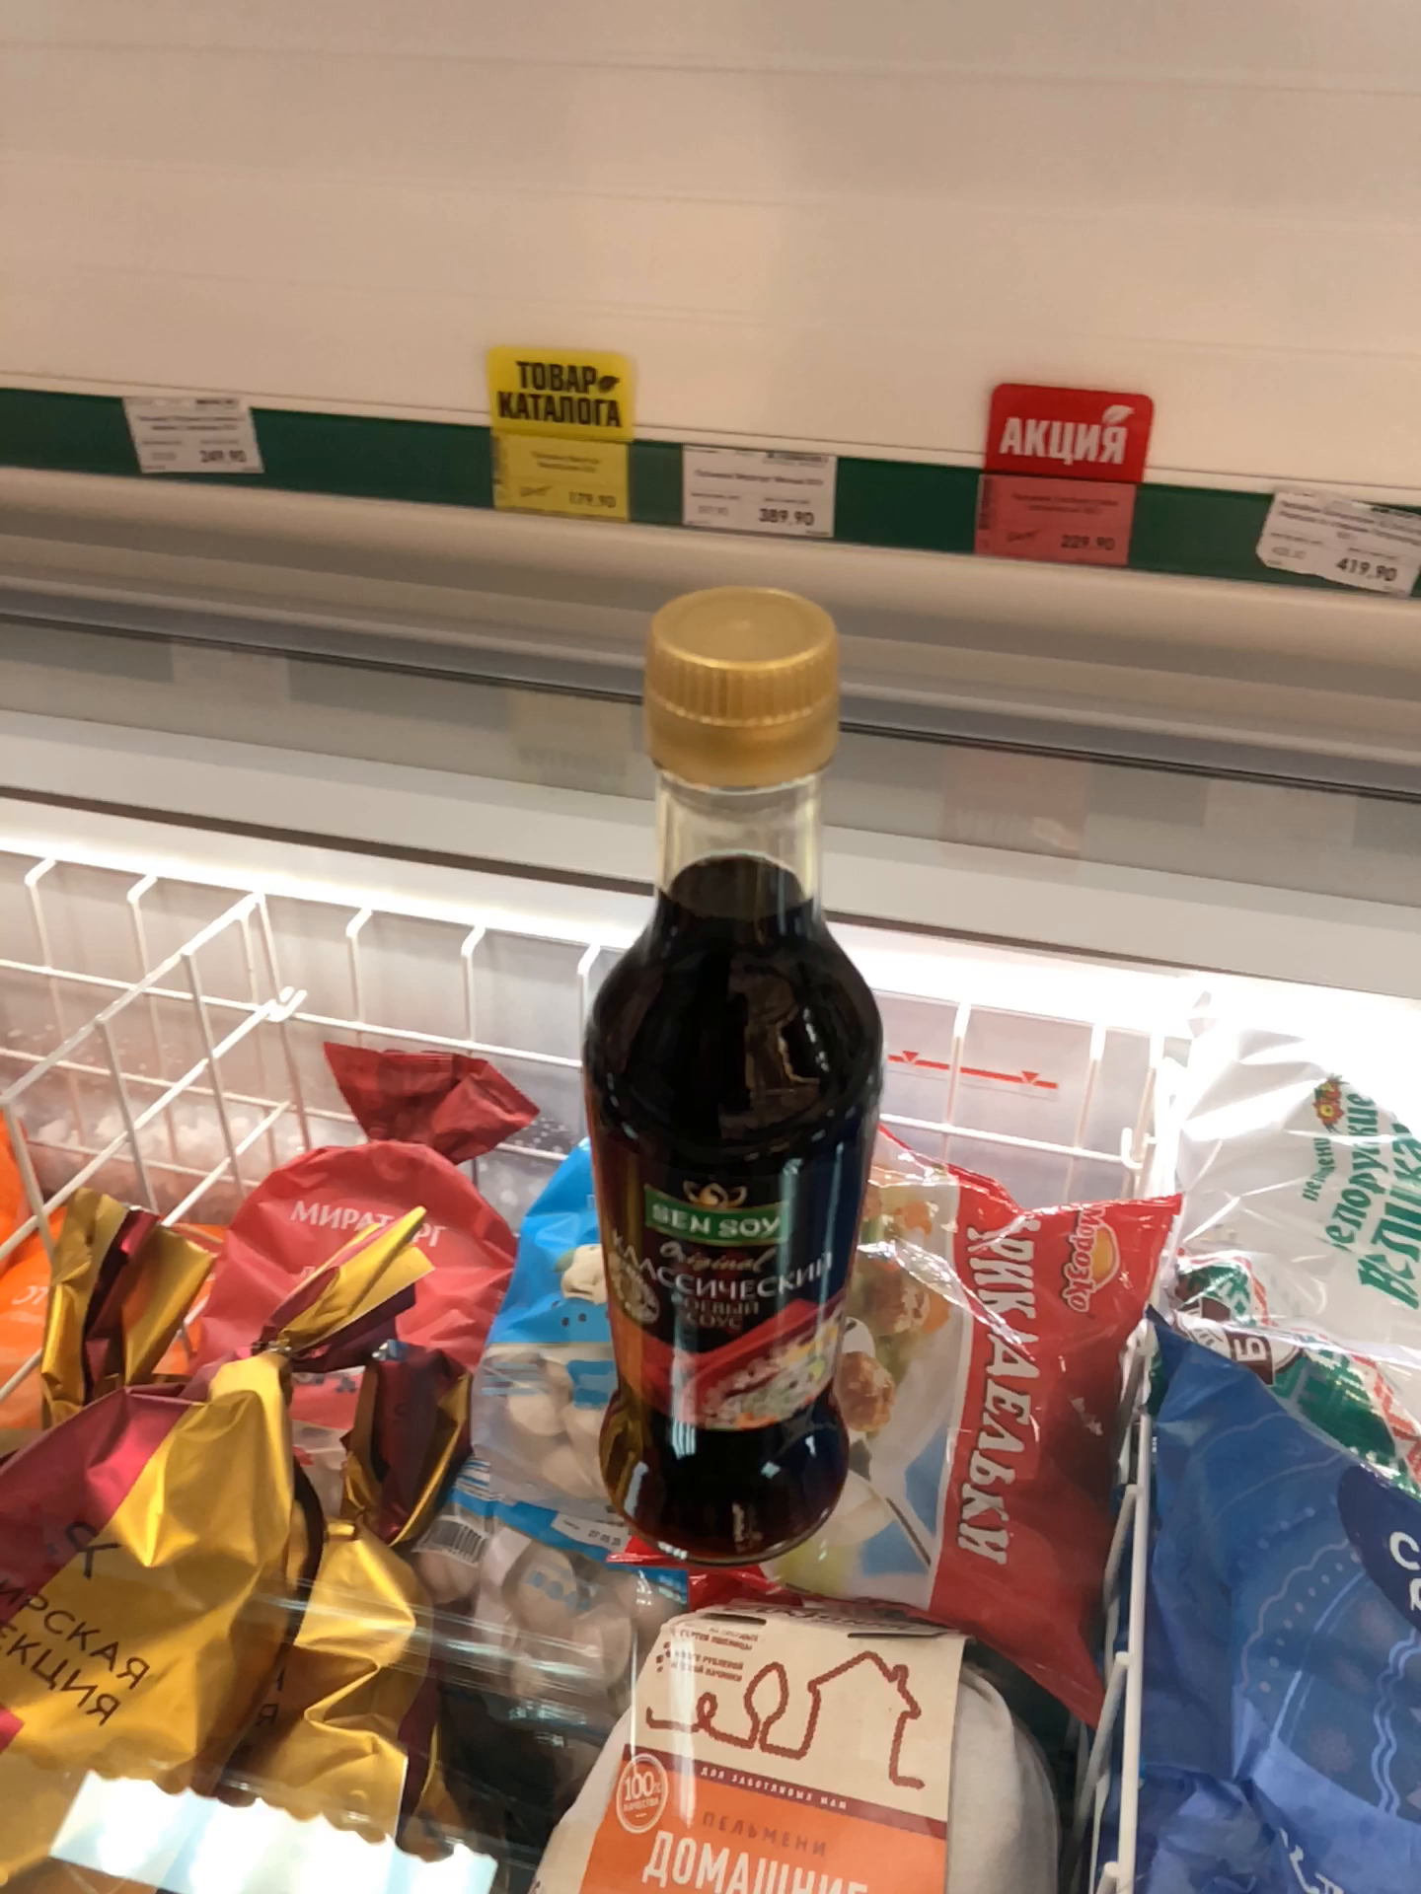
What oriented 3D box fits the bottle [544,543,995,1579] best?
[{"bbox_3d":[0.003,0.031,0.281,0.058,0.192,0.060,2,37,-1],"label":"bottle"}]
